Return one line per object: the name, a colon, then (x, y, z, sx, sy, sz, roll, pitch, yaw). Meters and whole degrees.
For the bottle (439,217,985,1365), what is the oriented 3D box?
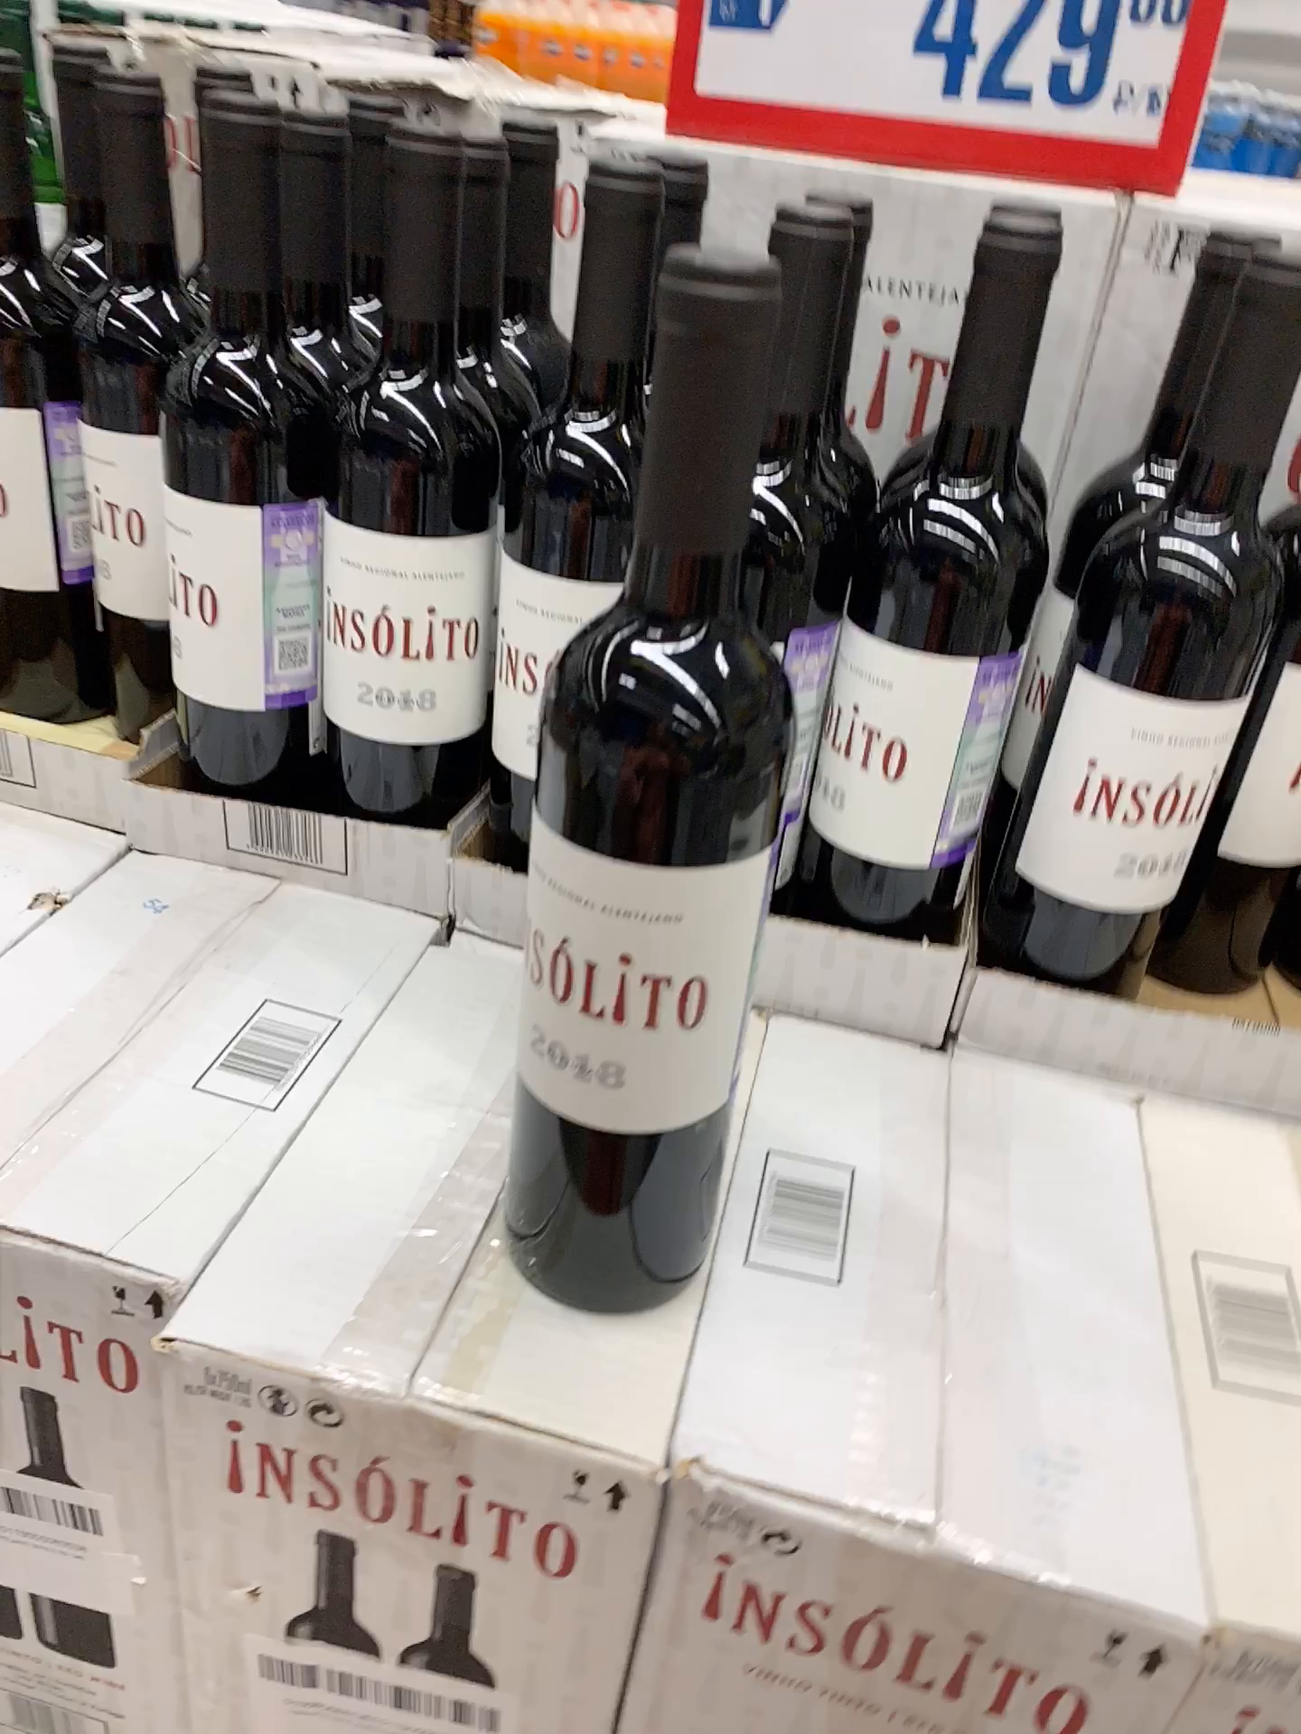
bottle: (0.002, -0.007, 0.379, 0.077, 0.310, 0.080, 6, 31, -4)
